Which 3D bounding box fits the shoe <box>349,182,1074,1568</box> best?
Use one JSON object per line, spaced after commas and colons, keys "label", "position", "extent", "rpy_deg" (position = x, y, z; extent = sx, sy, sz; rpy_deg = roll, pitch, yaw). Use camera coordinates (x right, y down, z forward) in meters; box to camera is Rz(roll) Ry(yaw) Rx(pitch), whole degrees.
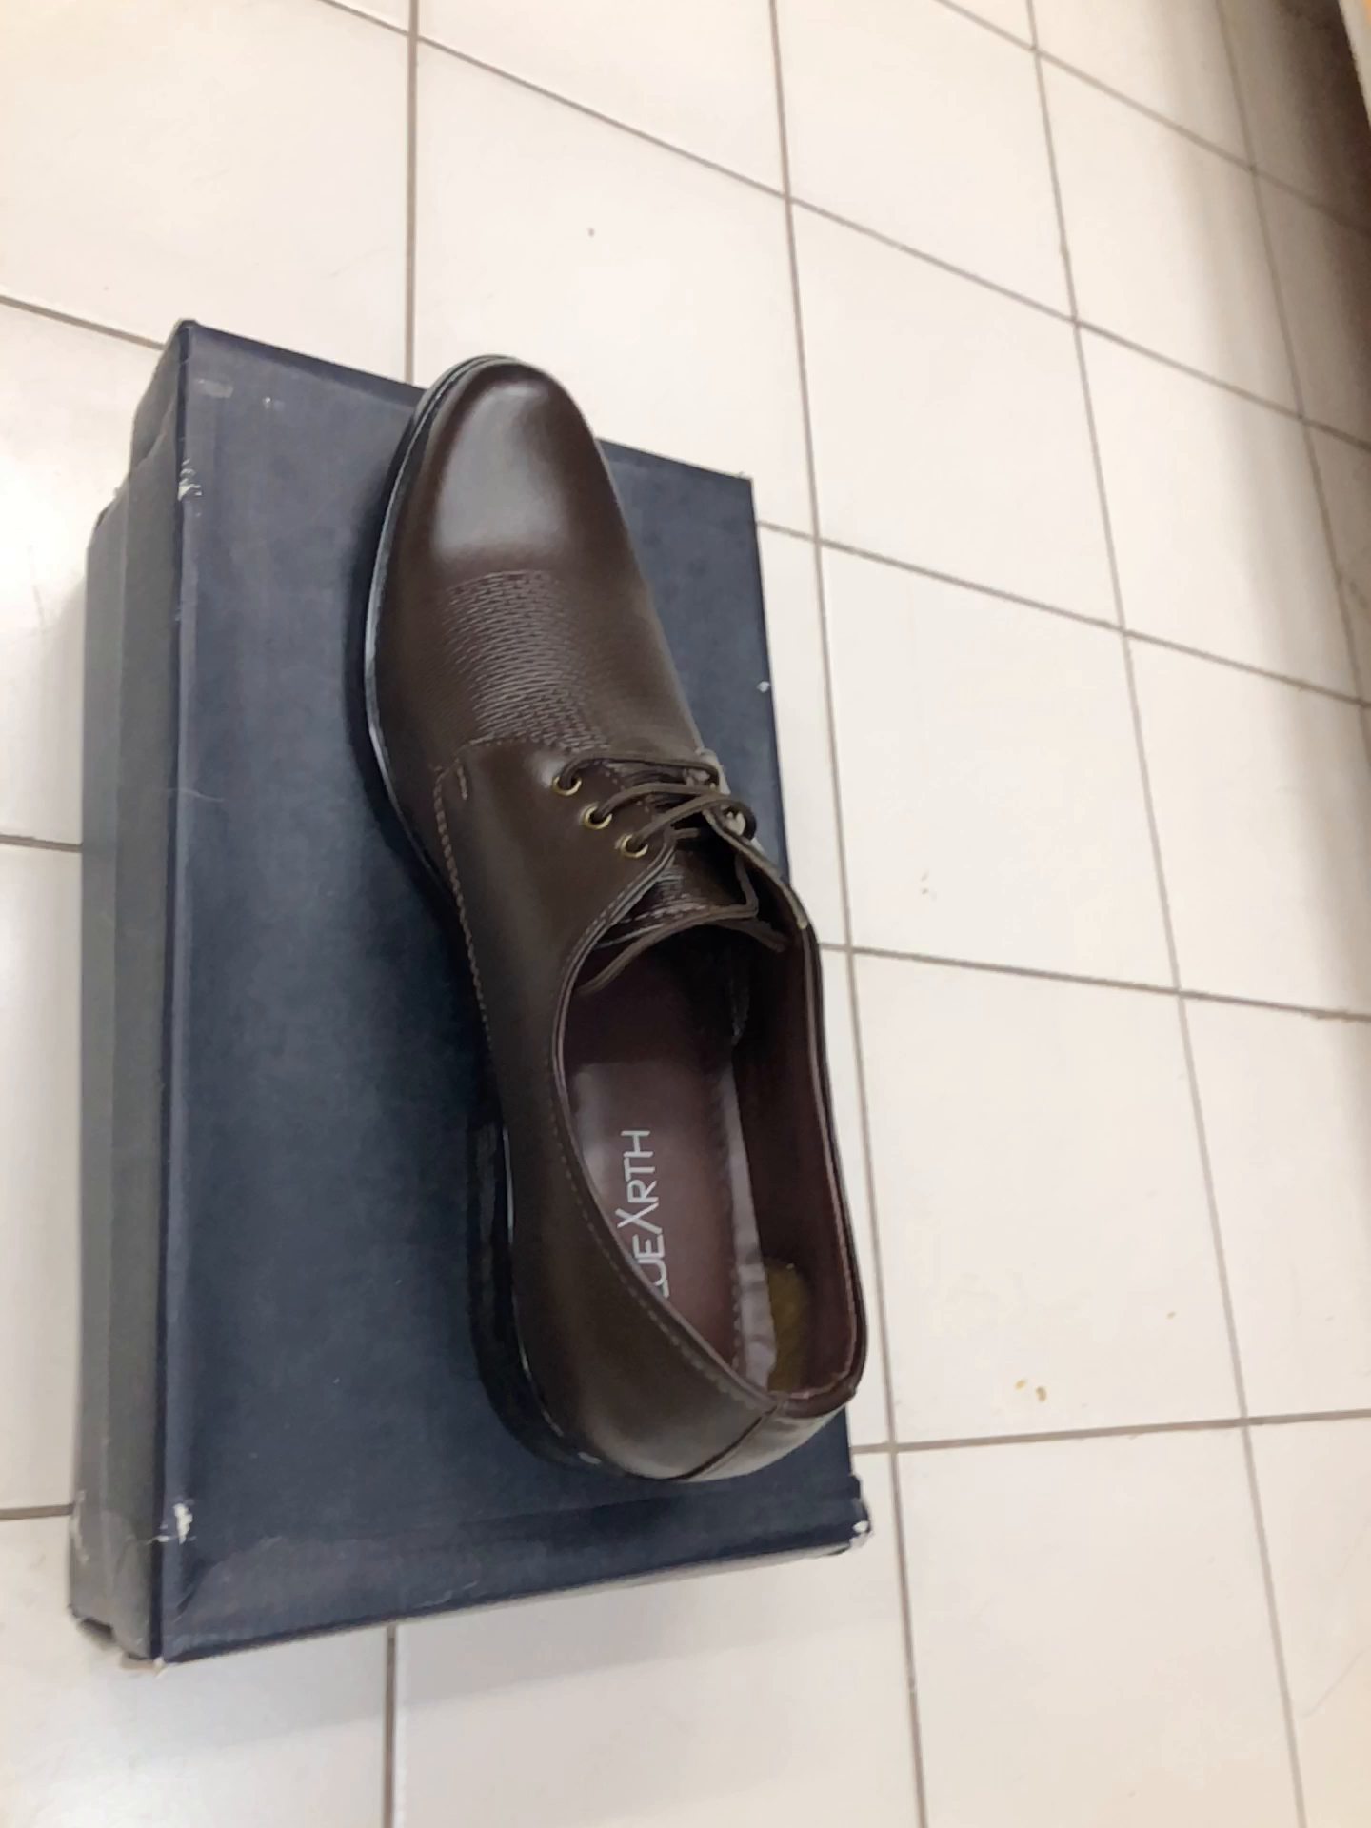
{"label": "shoe", "position": [-0.006, -0.010, 0.382], "extent": [0.111, 0.099, 0.300], "rpy_deg": [2, 72, -32]}
